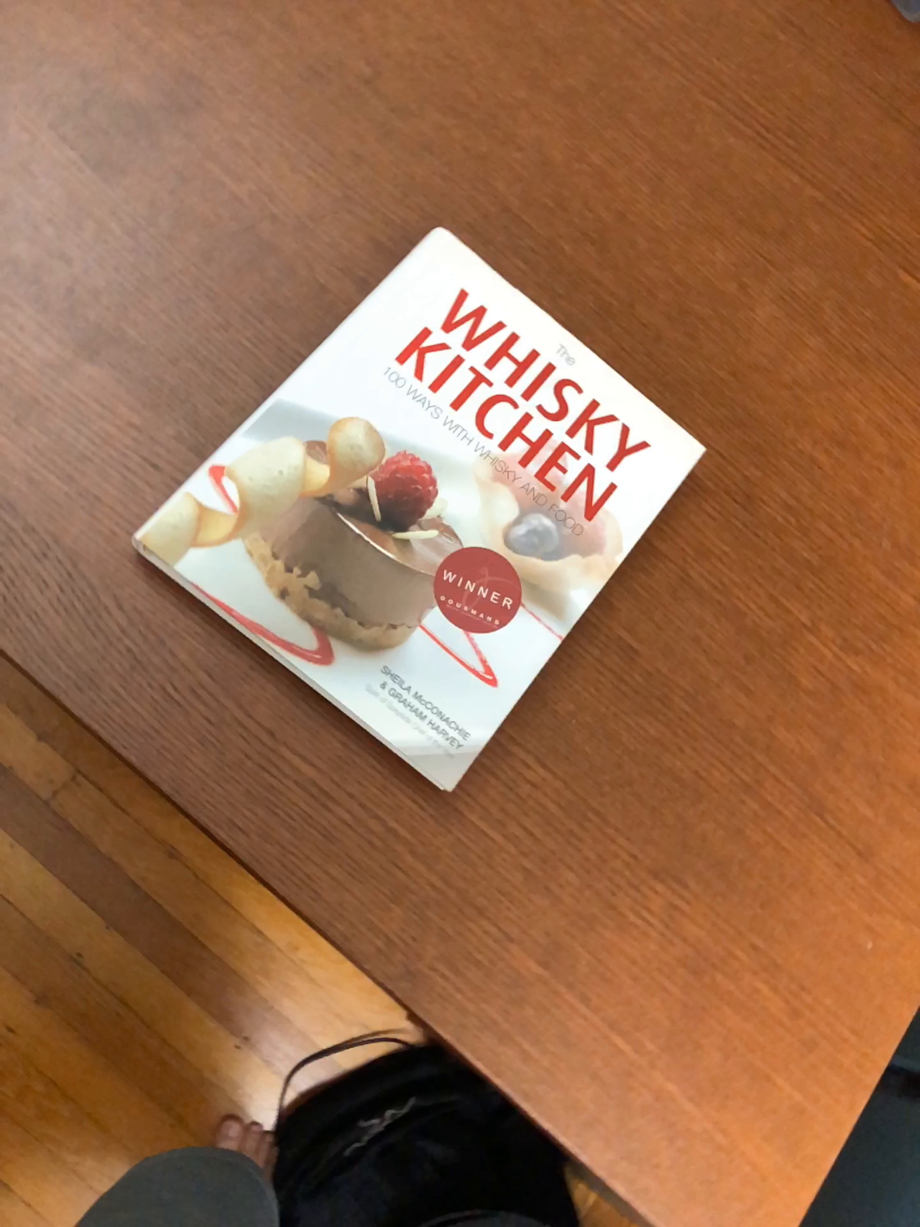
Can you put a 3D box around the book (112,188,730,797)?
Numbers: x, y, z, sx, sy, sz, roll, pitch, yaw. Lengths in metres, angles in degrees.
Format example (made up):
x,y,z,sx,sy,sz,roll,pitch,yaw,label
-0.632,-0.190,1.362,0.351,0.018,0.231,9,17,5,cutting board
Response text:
x,y,z,sx,sy,sz,roll,pitch,yaw,label
-0.011,-0.076,0.565,0.220,0.040,0.271,39,70,-1,book
